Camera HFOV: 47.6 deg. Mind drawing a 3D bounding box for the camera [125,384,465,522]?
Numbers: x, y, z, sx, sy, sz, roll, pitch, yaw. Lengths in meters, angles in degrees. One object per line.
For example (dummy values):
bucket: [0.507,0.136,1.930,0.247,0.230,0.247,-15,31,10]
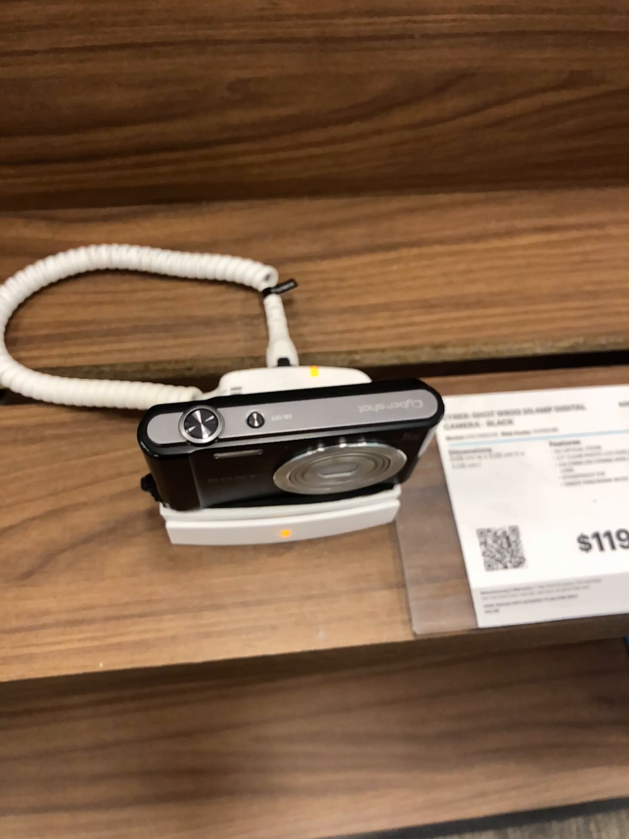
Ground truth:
camera: [-0.007,0.013,0.240,0.100,0.060,0.020,-4,68,-6]
